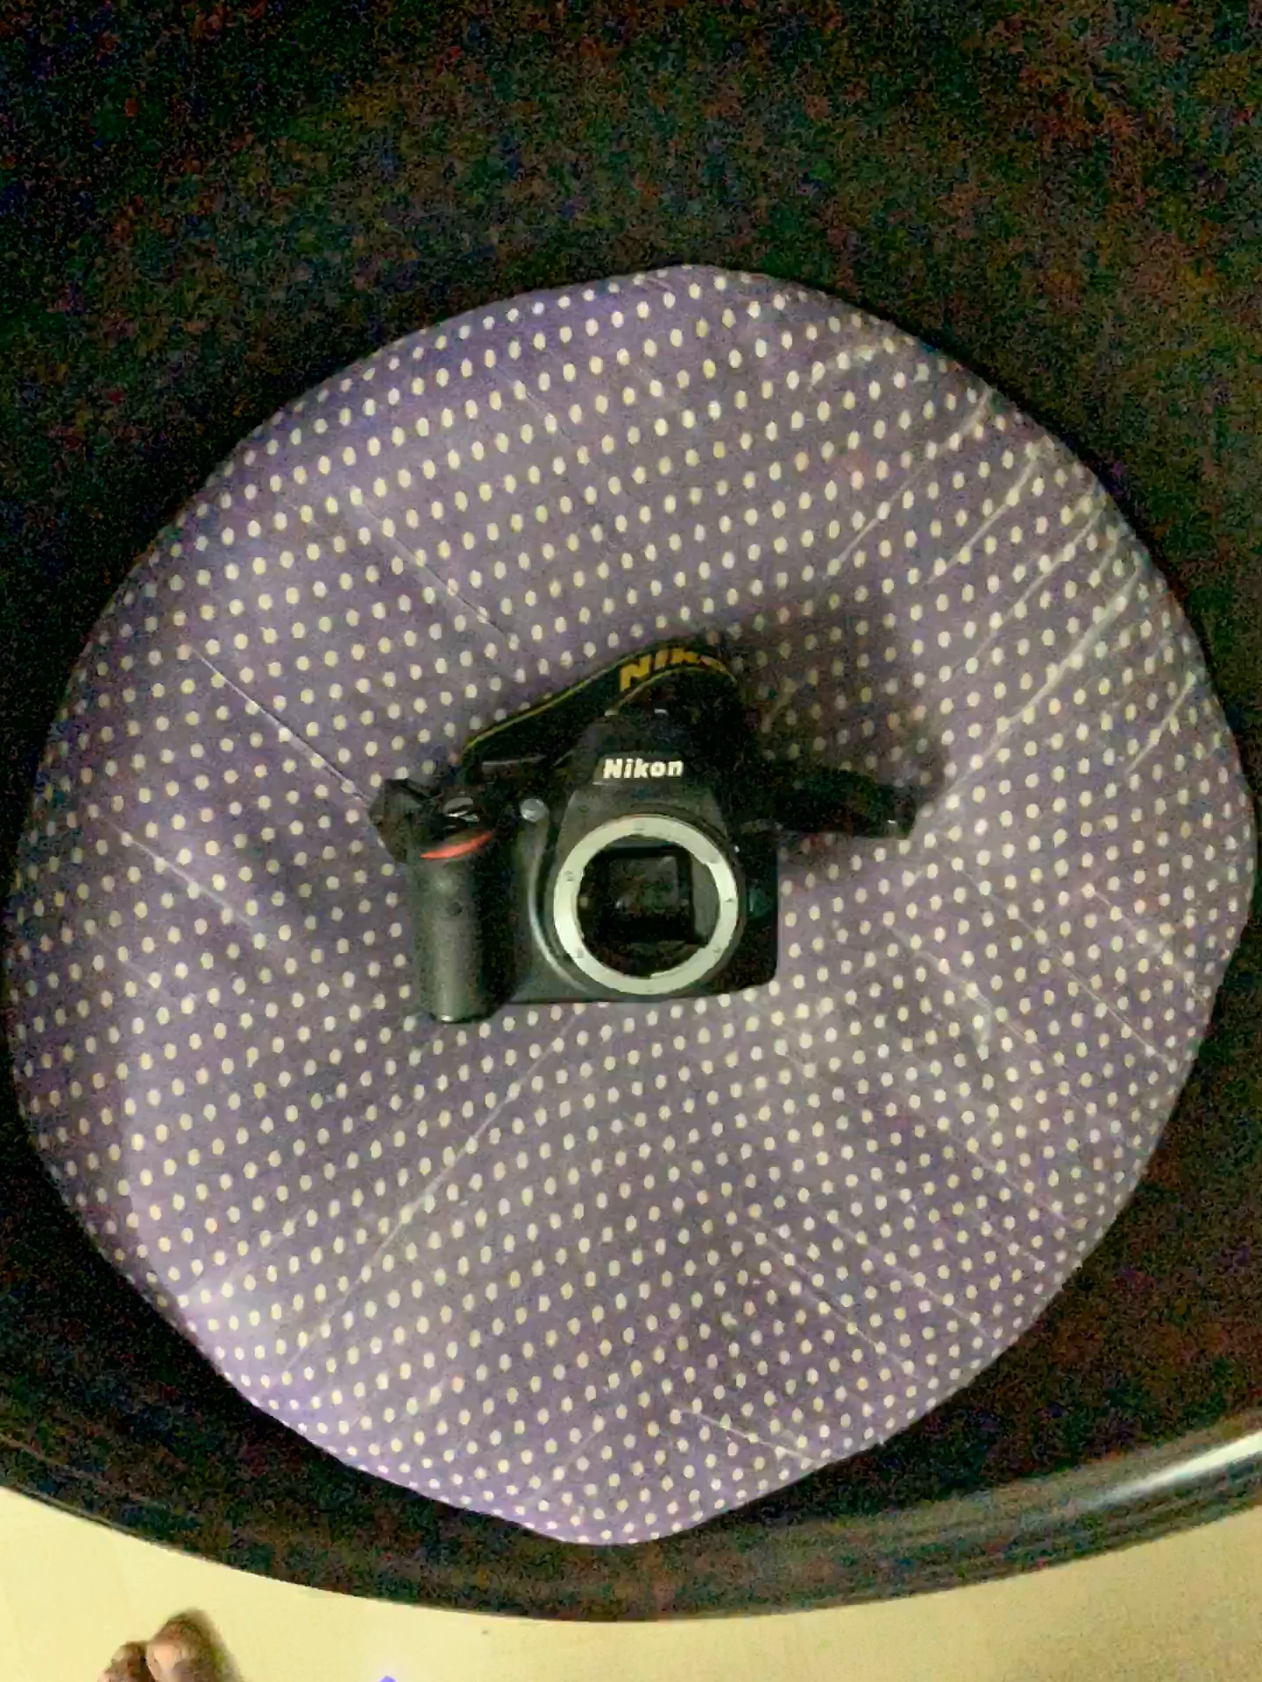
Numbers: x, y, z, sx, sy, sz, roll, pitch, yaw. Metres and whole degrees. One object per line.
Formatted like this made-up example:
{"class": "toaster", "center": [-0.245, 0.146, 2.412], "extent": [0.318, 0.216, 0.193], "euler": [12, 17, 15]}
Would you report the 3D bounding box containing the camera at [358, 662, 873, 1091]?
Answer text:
{"class": "camera", "center": [-0.004, 0.006, 0.410], "extent": [0.140, 0.080, 0.110], "euler": [-5, 101, -2]}
